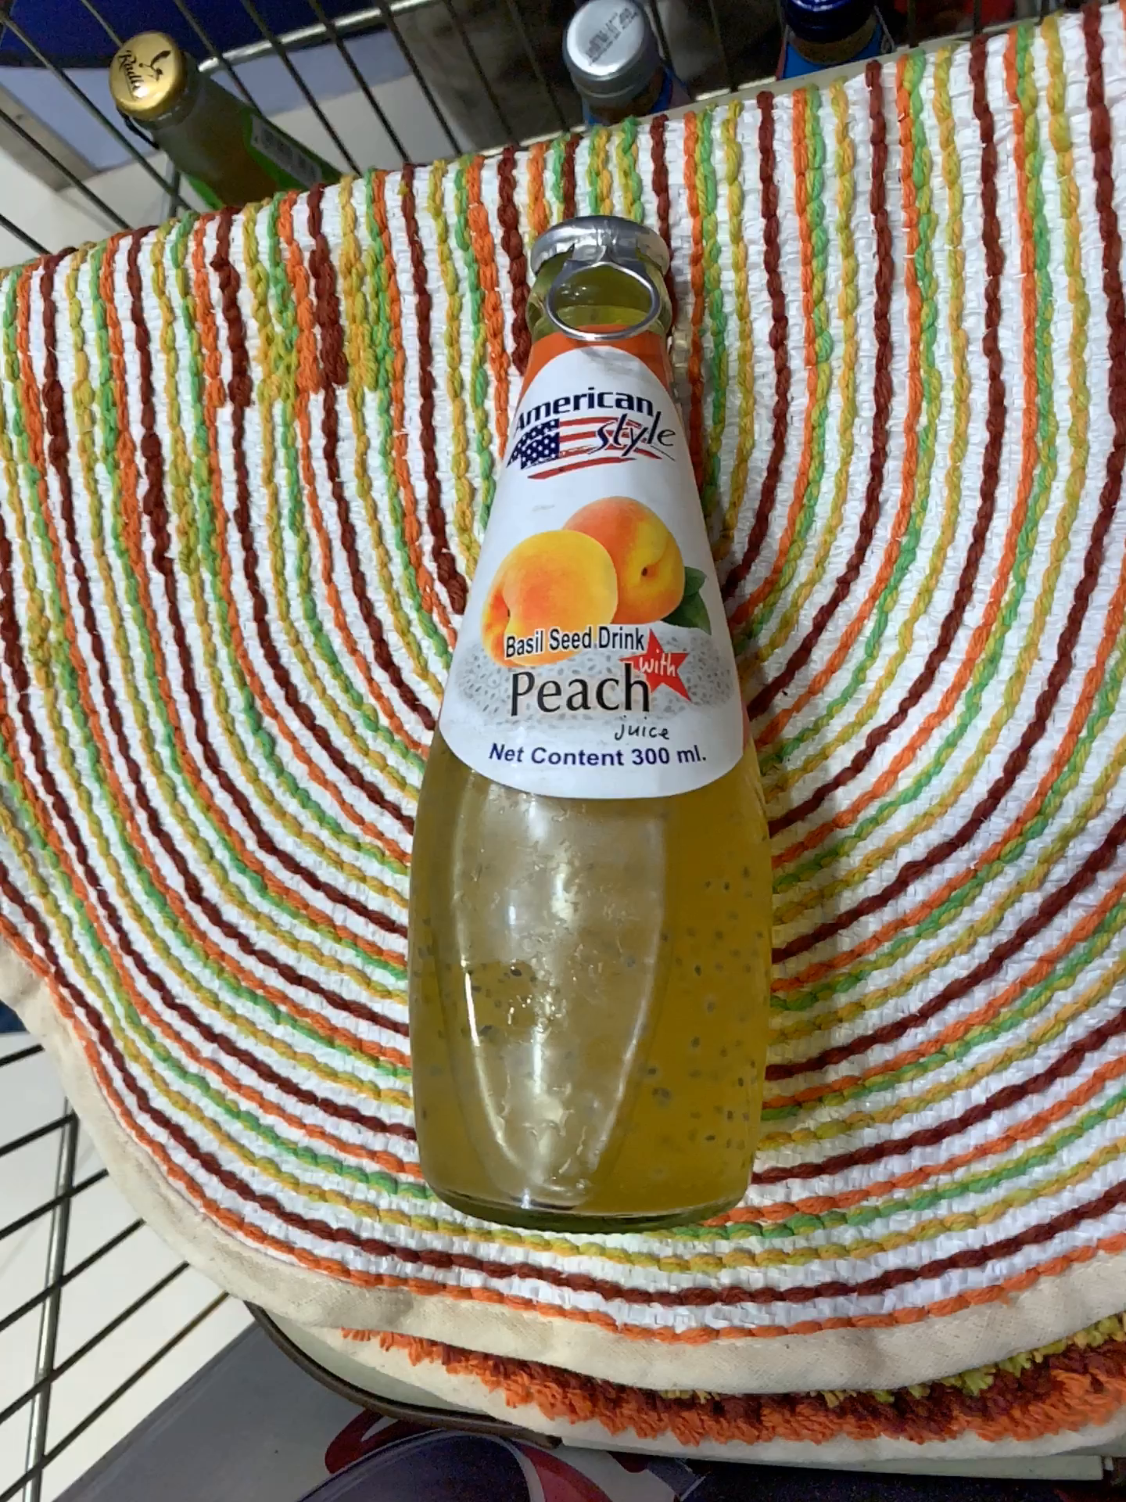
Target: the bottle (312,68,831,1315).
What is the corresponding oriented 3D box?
[{"bbox_3d":[0.005,-0.014,0.215,0.070,0.060,0.200,4,77,-3],"label":"bottle"}]
